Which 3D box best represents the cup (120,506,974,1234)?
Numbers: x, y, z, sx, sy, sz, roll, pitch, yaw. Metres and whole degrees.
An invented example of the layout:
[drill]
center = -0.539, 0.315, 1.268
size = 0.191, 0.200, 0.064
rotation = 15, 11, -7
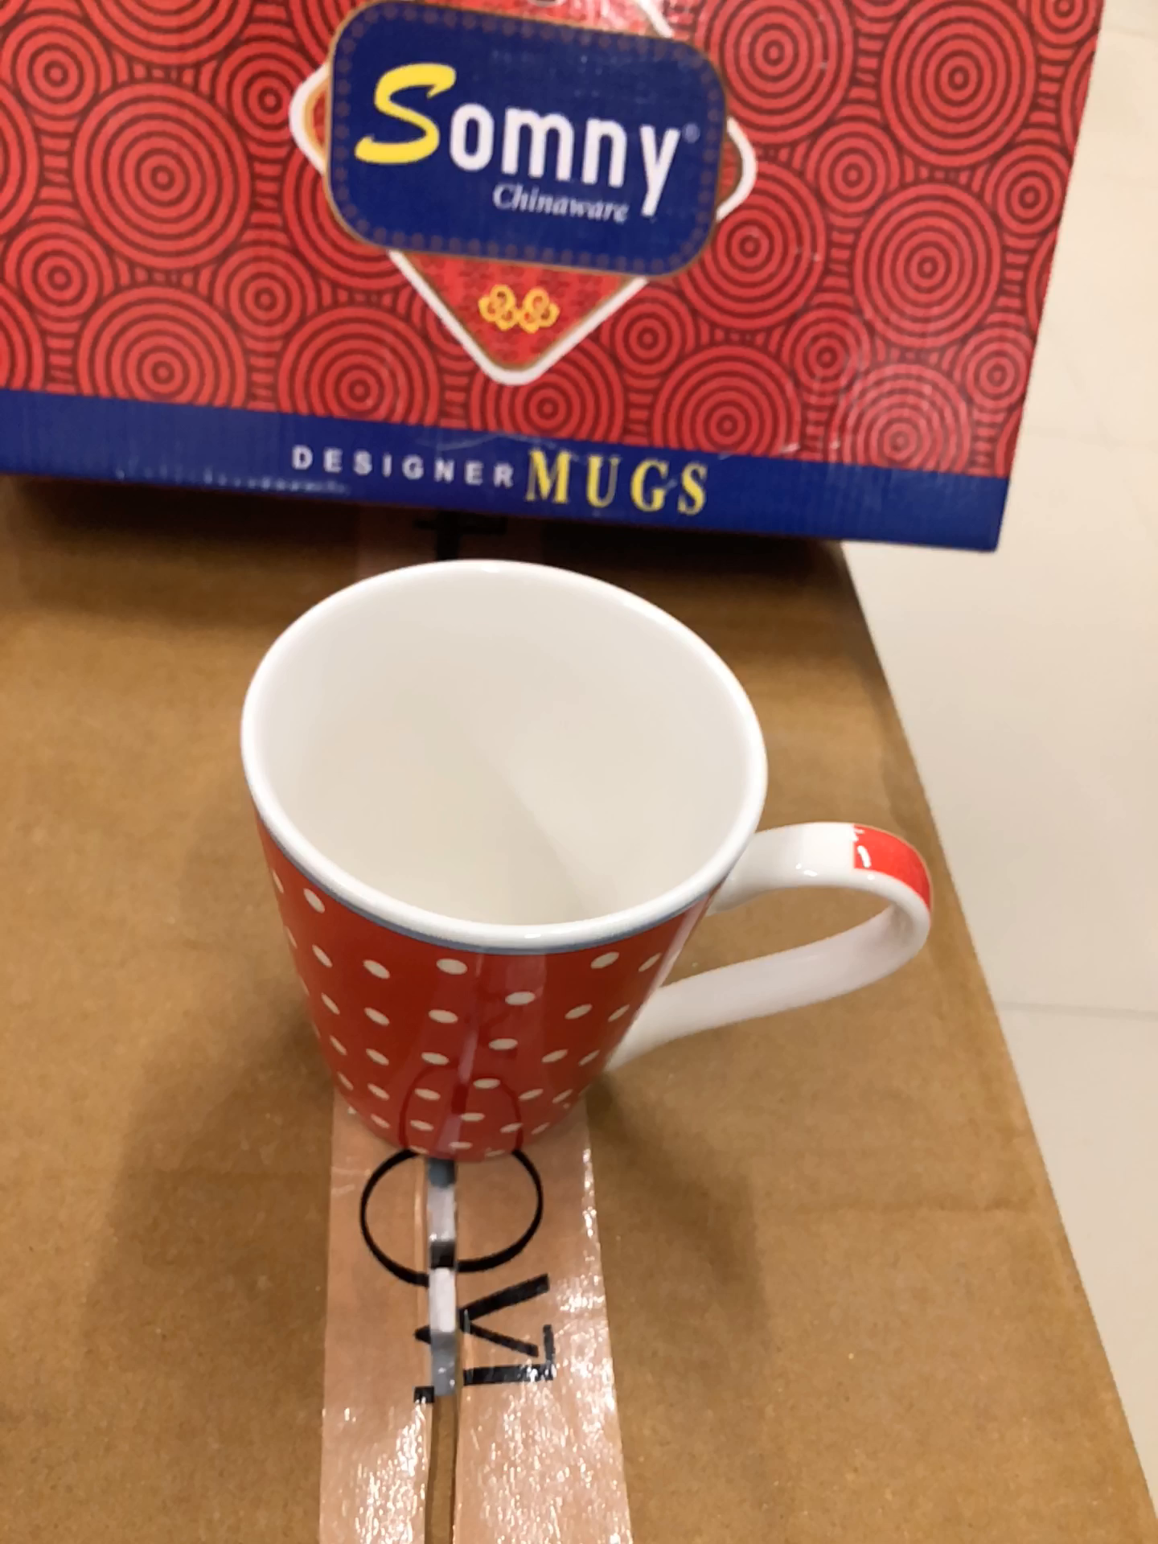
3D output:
[cup]
center = -0.008, 0.021, 0.240
size = 0.120, 0.089, 0.081
rotation = 9, 47, -5
